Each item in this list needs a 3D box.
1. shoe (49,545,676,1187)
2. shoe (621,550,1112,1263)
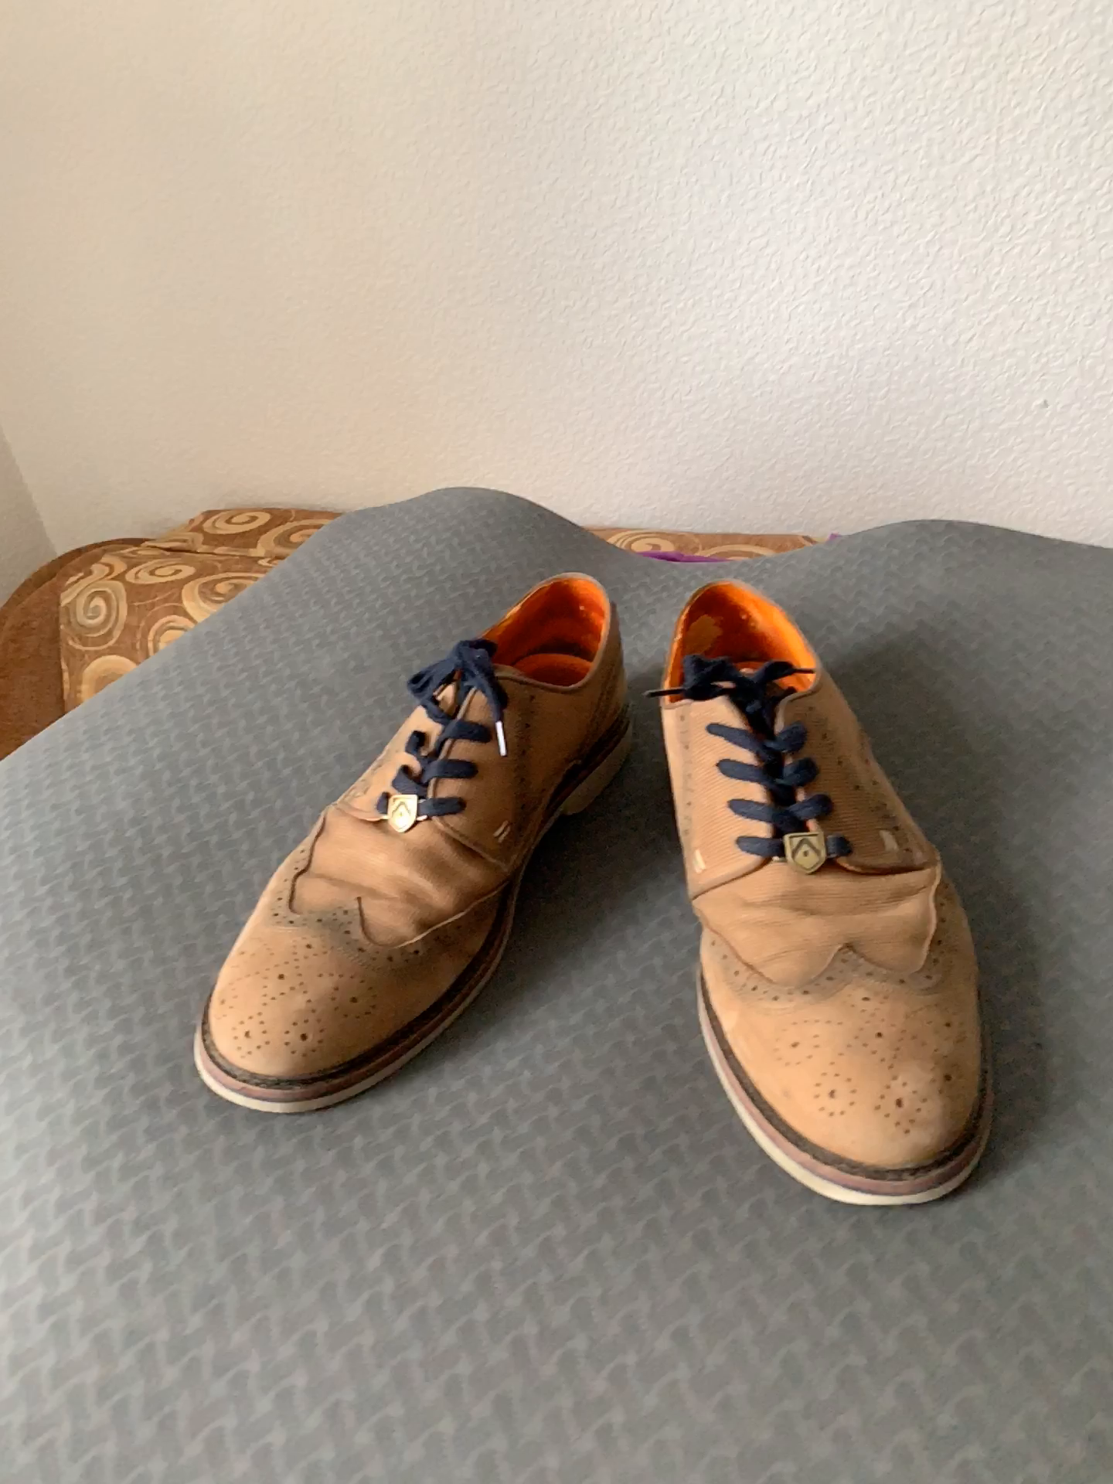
[{"bbox_3d":[-0.059,0.028,0.512,0.110,0.090,0.301,13,42,26],"label":"shoe"},{"bbox_3d":[0.106,0.038,0.458,0.110,0.090,0.292,-9,37,-1],"label":"shoe"}]
